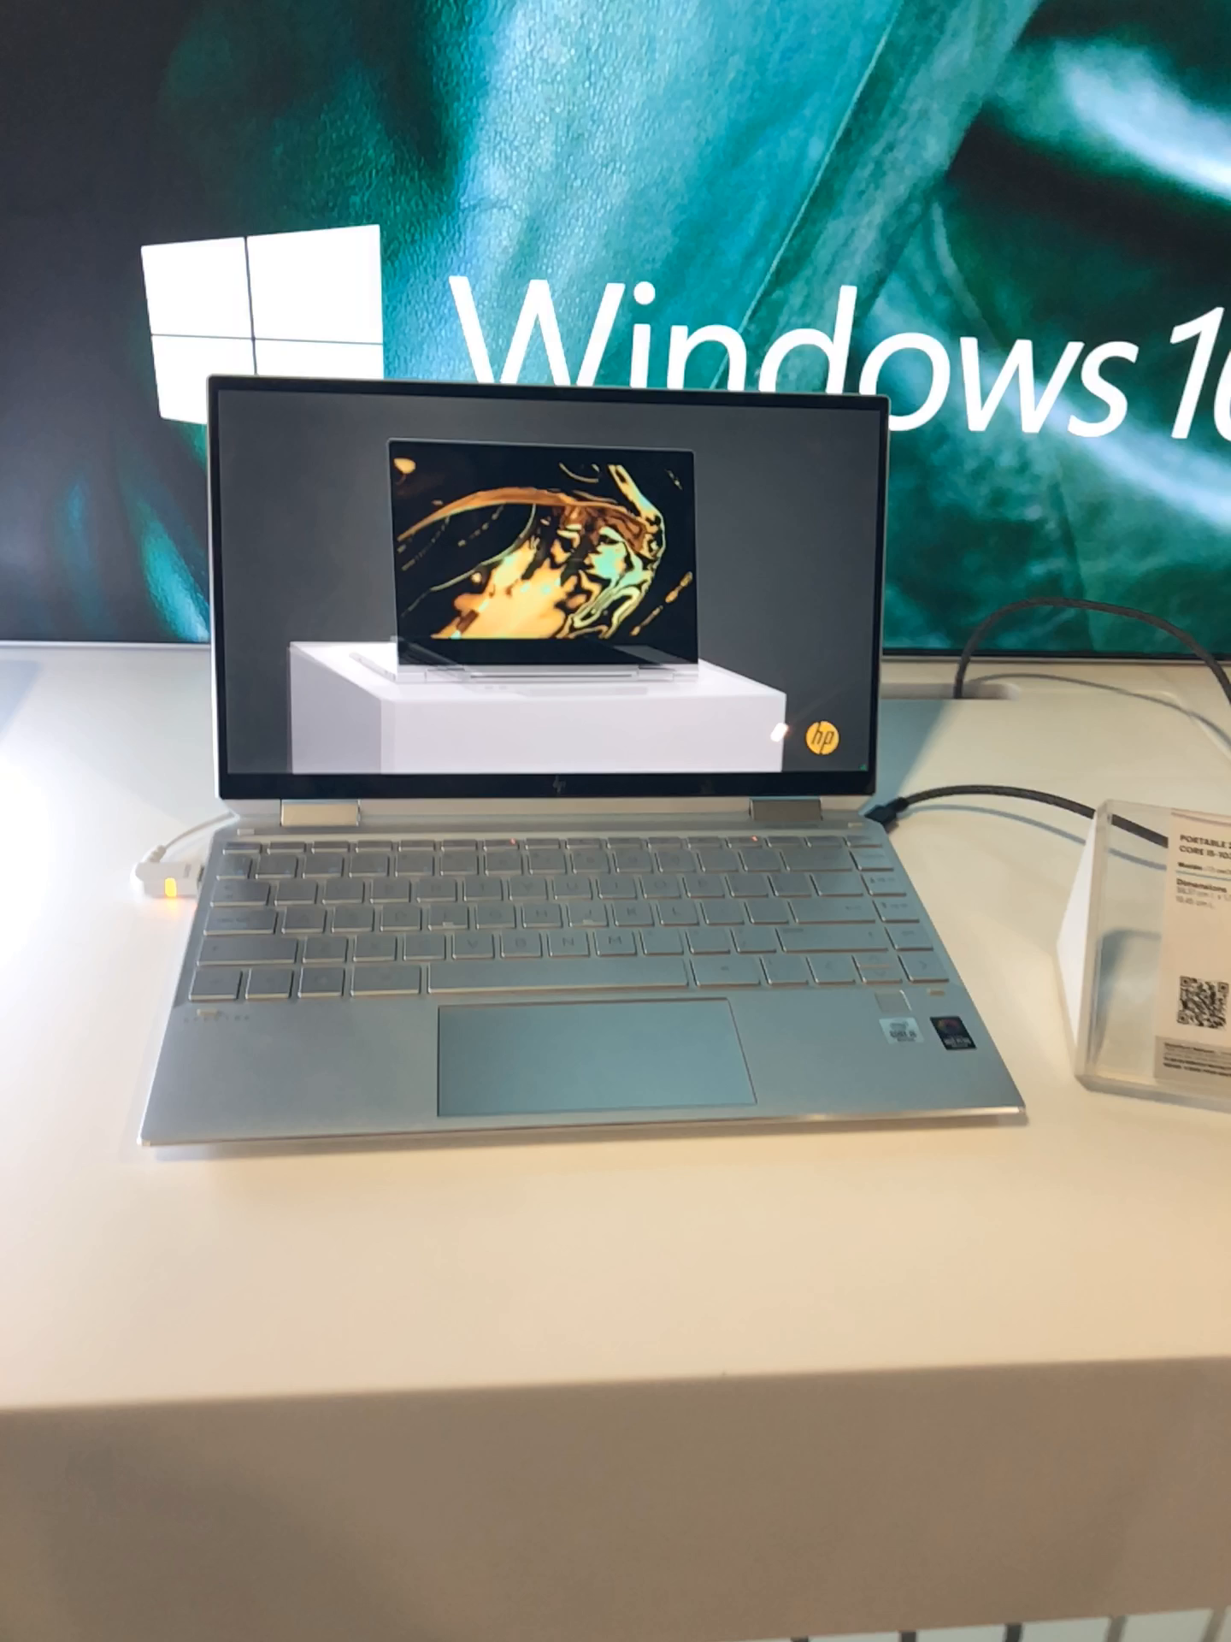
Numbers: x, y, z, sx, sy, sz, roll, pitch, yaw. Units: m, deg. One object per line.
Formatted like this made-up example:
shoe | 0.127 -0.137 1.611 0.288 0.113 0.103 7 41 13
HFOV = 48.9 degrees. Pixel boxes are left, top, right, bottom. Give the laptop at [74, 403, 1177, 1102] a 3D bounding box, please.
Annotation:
laptop | -0.012 -0.038 0.504 0.281 0.194 0.241 0 26 -8
